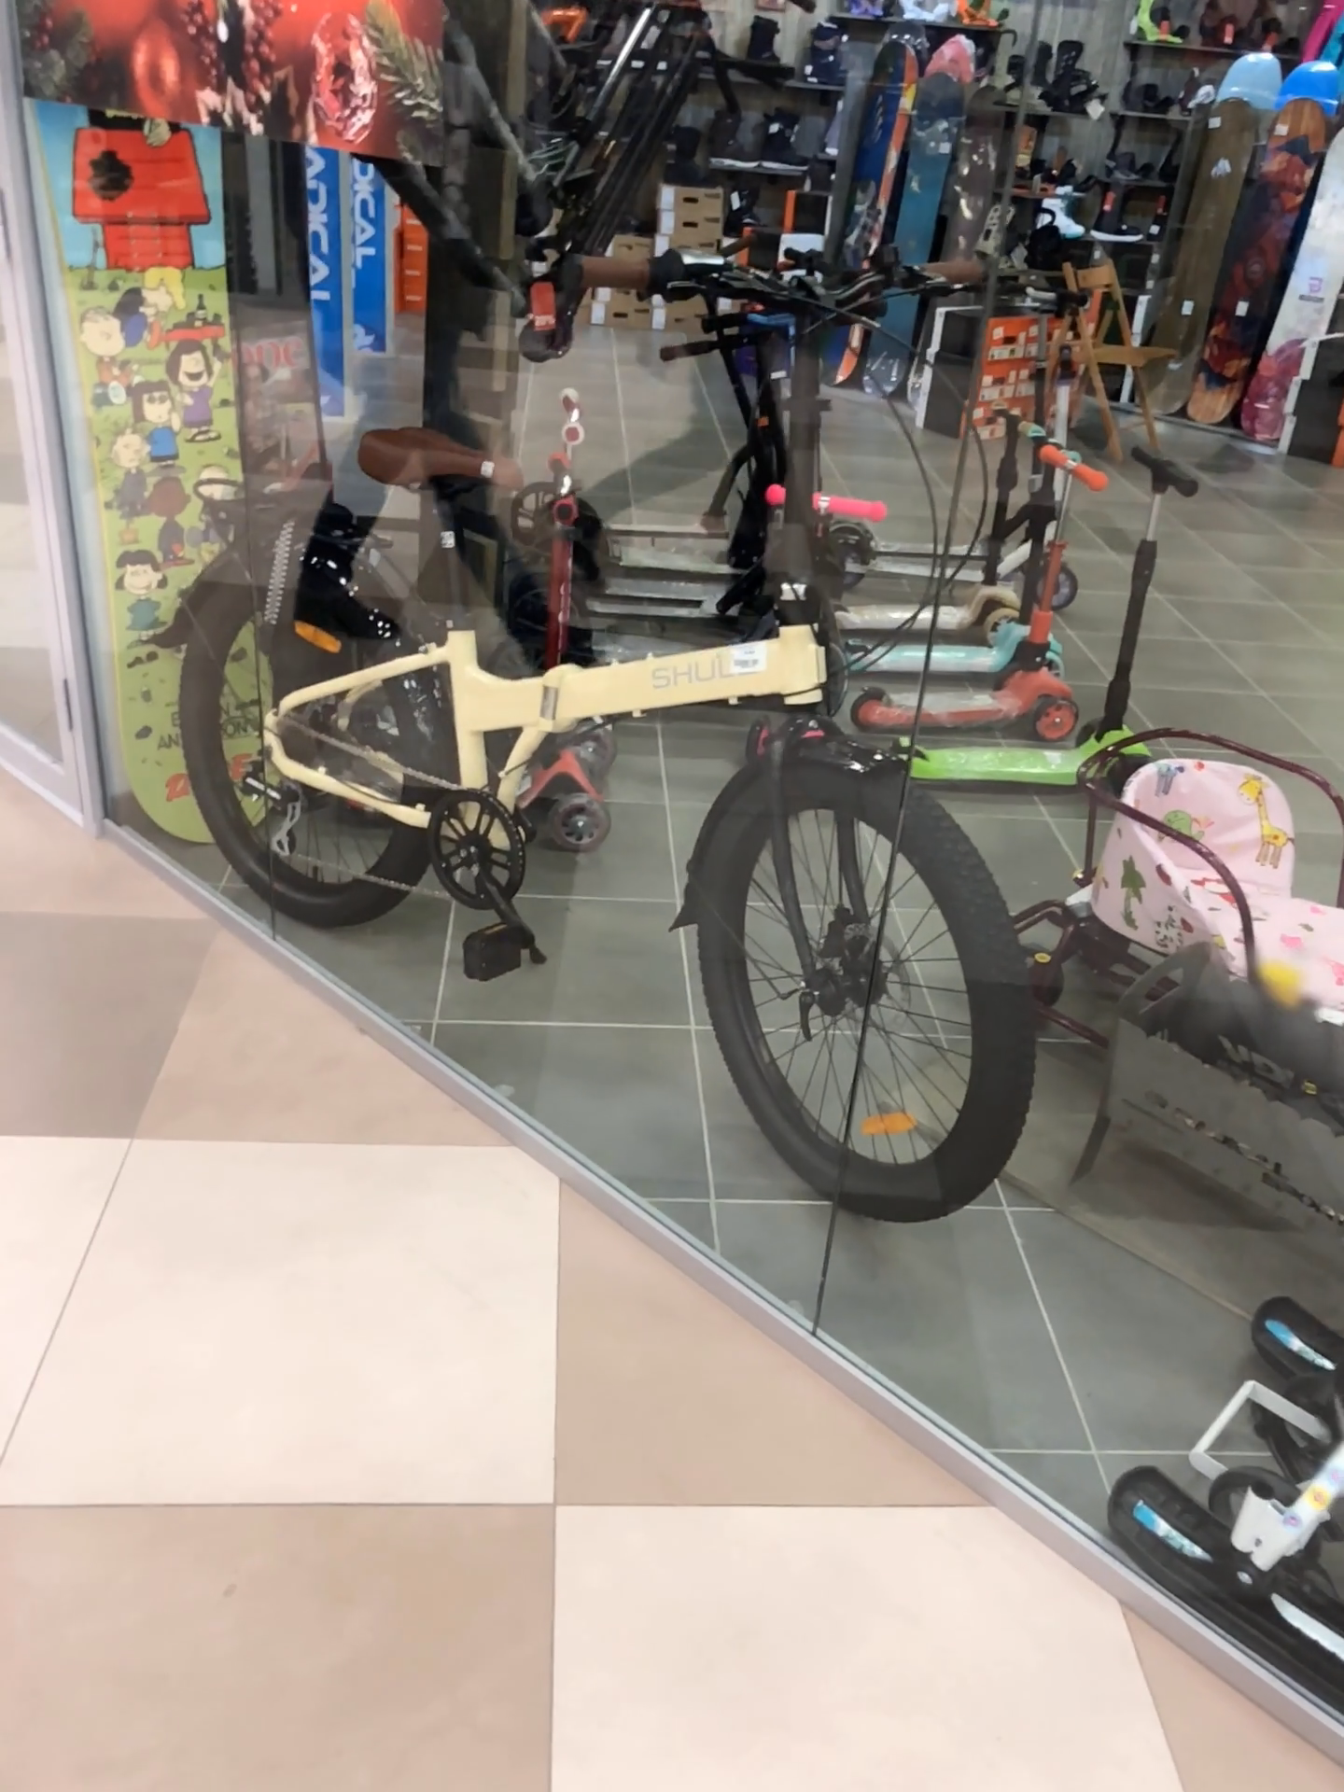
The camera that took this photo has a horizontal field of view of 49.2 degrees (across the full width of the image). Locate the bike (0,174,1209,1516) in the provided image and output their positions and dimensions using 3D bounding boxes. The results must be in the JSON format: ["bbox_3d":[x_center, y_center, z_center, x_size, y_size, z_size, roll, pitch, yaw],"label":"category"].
[{"bbox_3d":[-0.257,-0.268,2.066,1.706,1.174,0.595,25,34,33],"label":"bike"}]
